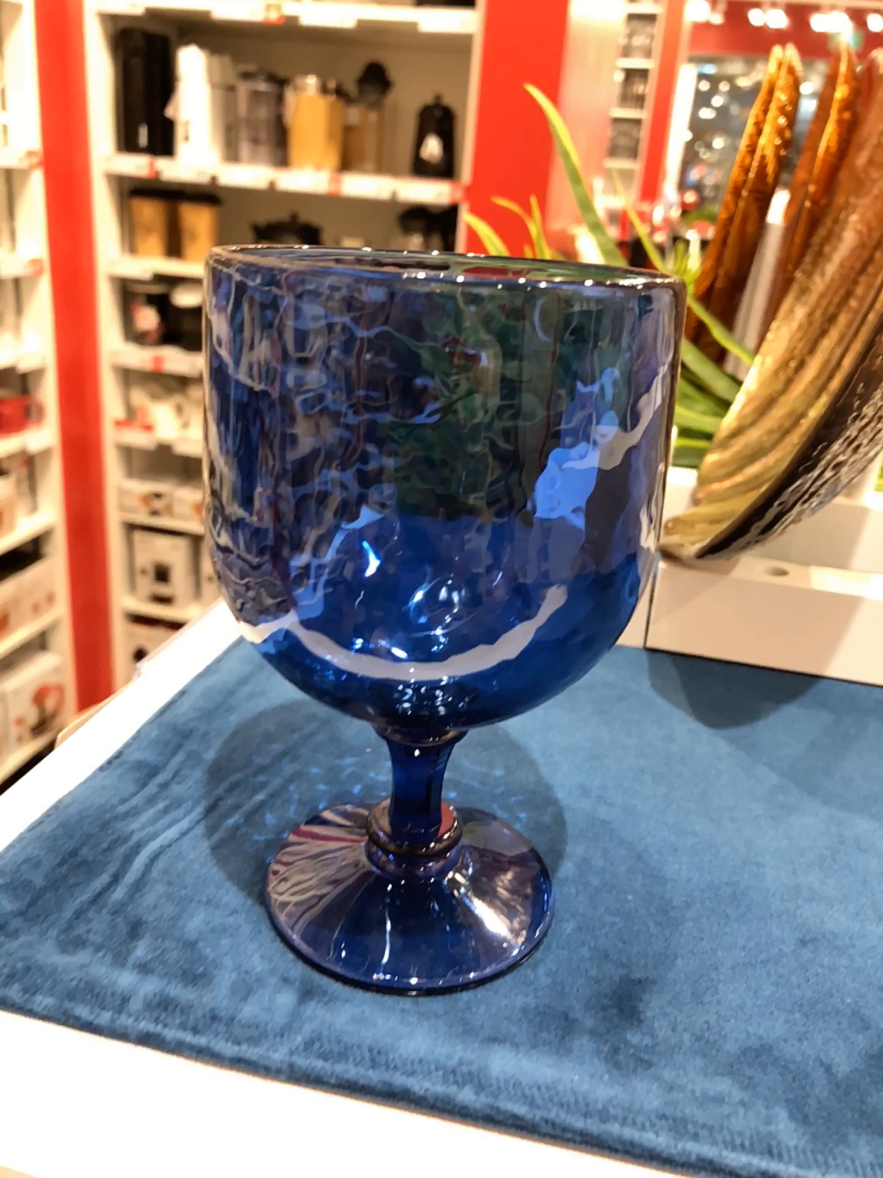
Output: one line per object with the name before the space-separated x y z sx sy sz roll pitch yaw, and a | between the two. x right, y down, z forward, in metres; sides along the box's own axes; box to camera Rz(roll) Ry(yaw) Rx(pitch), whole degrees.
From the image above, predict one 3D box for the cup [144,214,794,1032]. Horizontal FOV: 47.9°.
cup | -0.001 0.003 0.200 0.090 0.140 0.080 3 22 -3
